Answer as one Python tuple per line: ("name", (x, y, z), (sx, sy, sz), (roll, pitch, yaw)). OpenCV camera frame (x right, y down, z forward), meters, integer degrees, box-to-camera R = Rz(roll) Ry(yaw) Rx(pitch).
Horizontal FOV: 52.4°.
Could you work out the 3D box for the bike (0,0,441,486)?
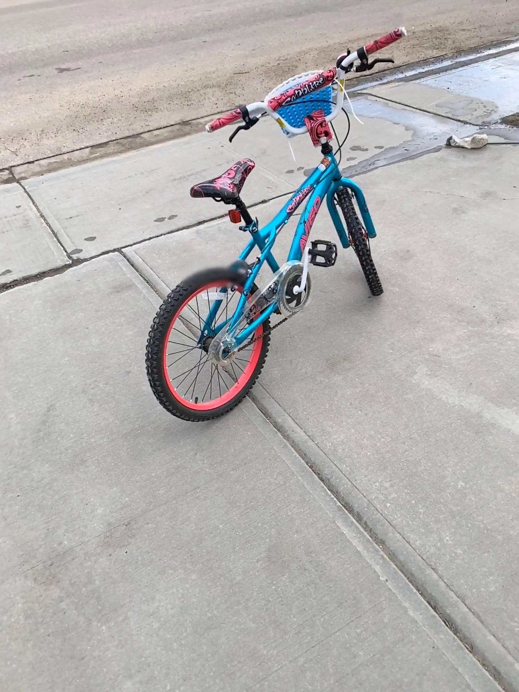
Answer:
("bike", (-0.035, -0.477, 1.769), (0.745, 0.946, 1.261), (21, 49, 28))
